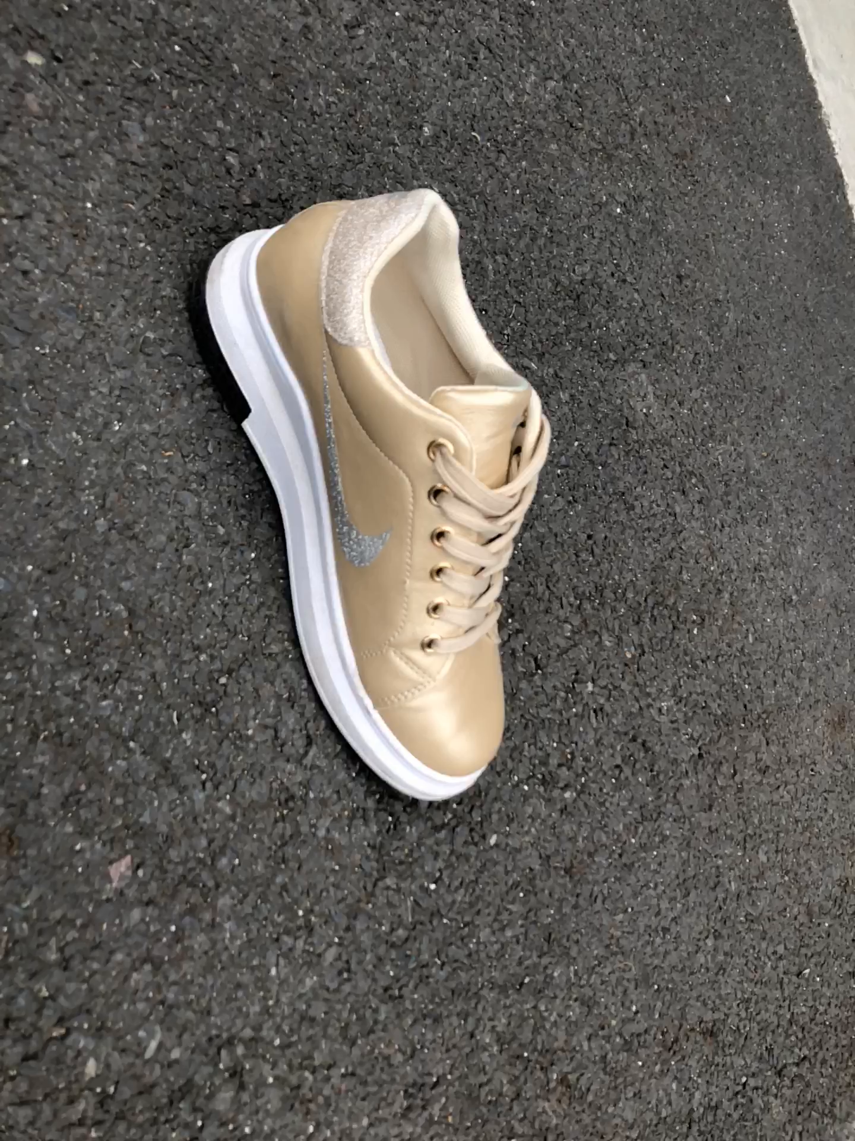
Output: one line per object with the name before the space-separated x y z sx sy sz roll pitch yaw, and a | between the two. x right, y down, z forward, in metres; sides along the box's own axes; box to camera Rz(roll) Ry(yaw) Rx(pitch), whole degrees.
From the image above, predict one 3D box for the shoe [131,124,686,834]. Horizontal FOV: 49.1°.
shoe | 0.001 -0.035 0.397 0.117 0.099 0.260 -31 103 -48
